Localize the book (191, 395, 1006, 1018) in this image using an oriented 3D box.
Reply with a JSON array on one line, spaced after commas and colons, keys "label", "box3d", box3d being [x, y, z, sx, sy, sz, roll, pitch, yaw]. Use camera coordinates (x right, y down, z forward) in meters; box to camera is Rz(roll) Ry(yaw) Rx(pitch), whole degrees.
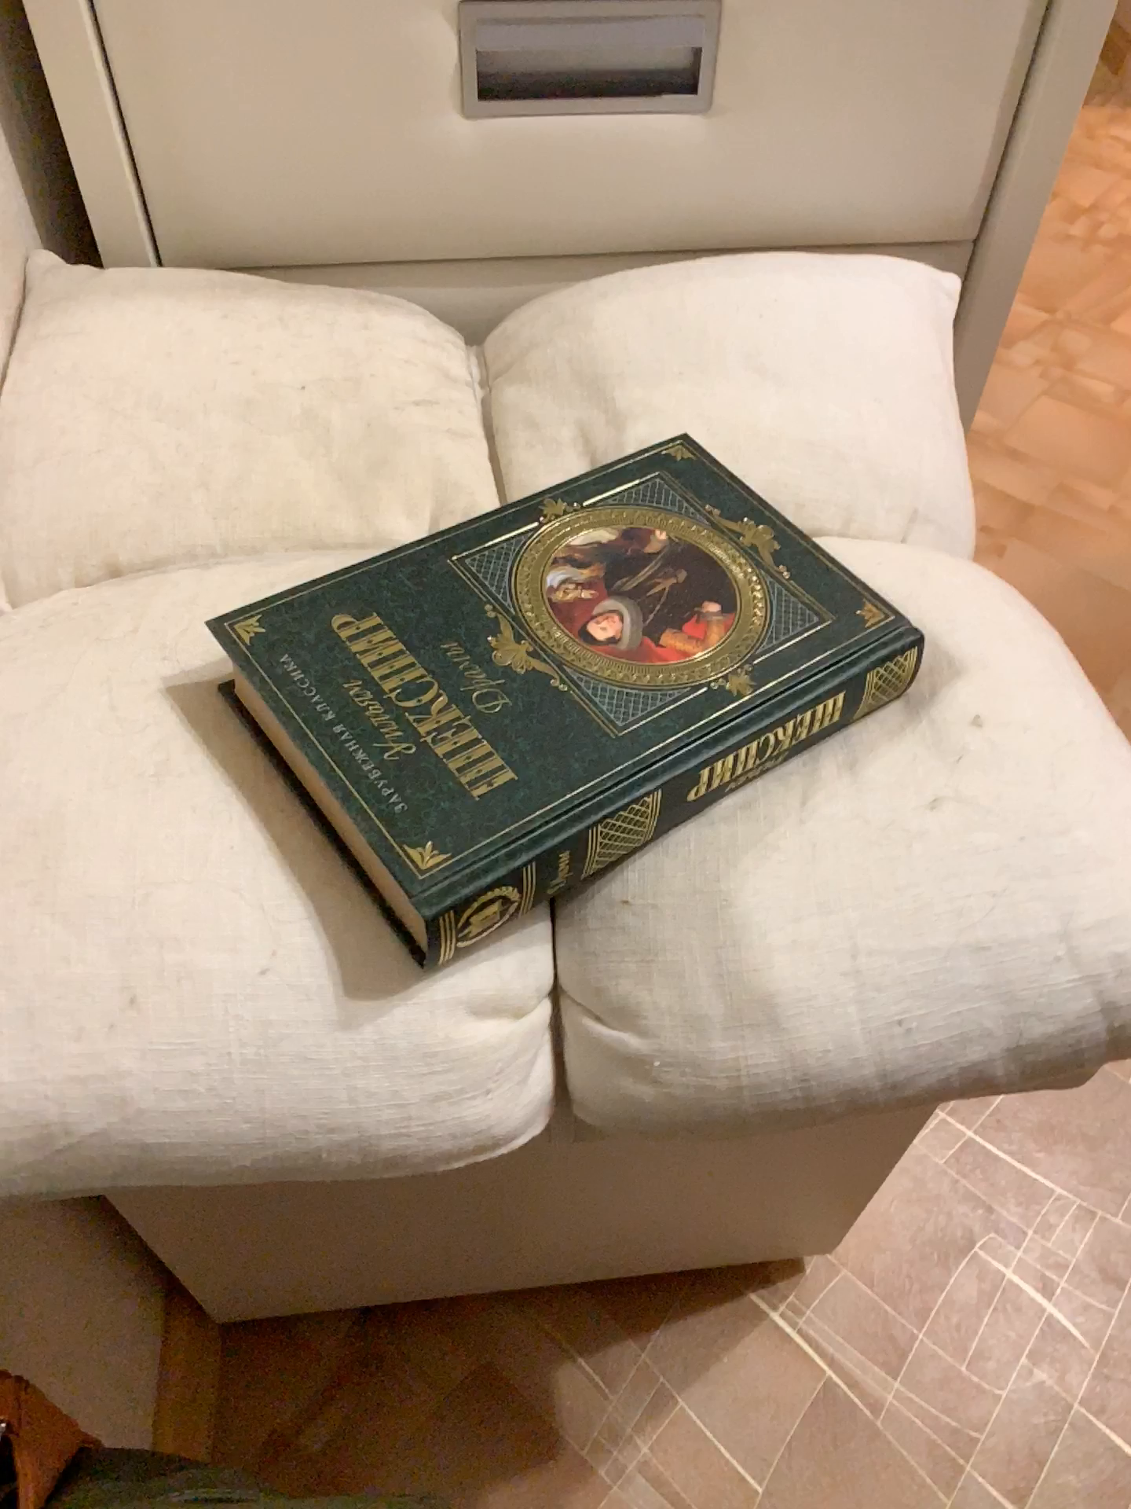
[{"label": "book", "box3d": [0.014, -0.035, 0.391, 0.221, 0.040, 0.151, -28, 59, -26]}]
